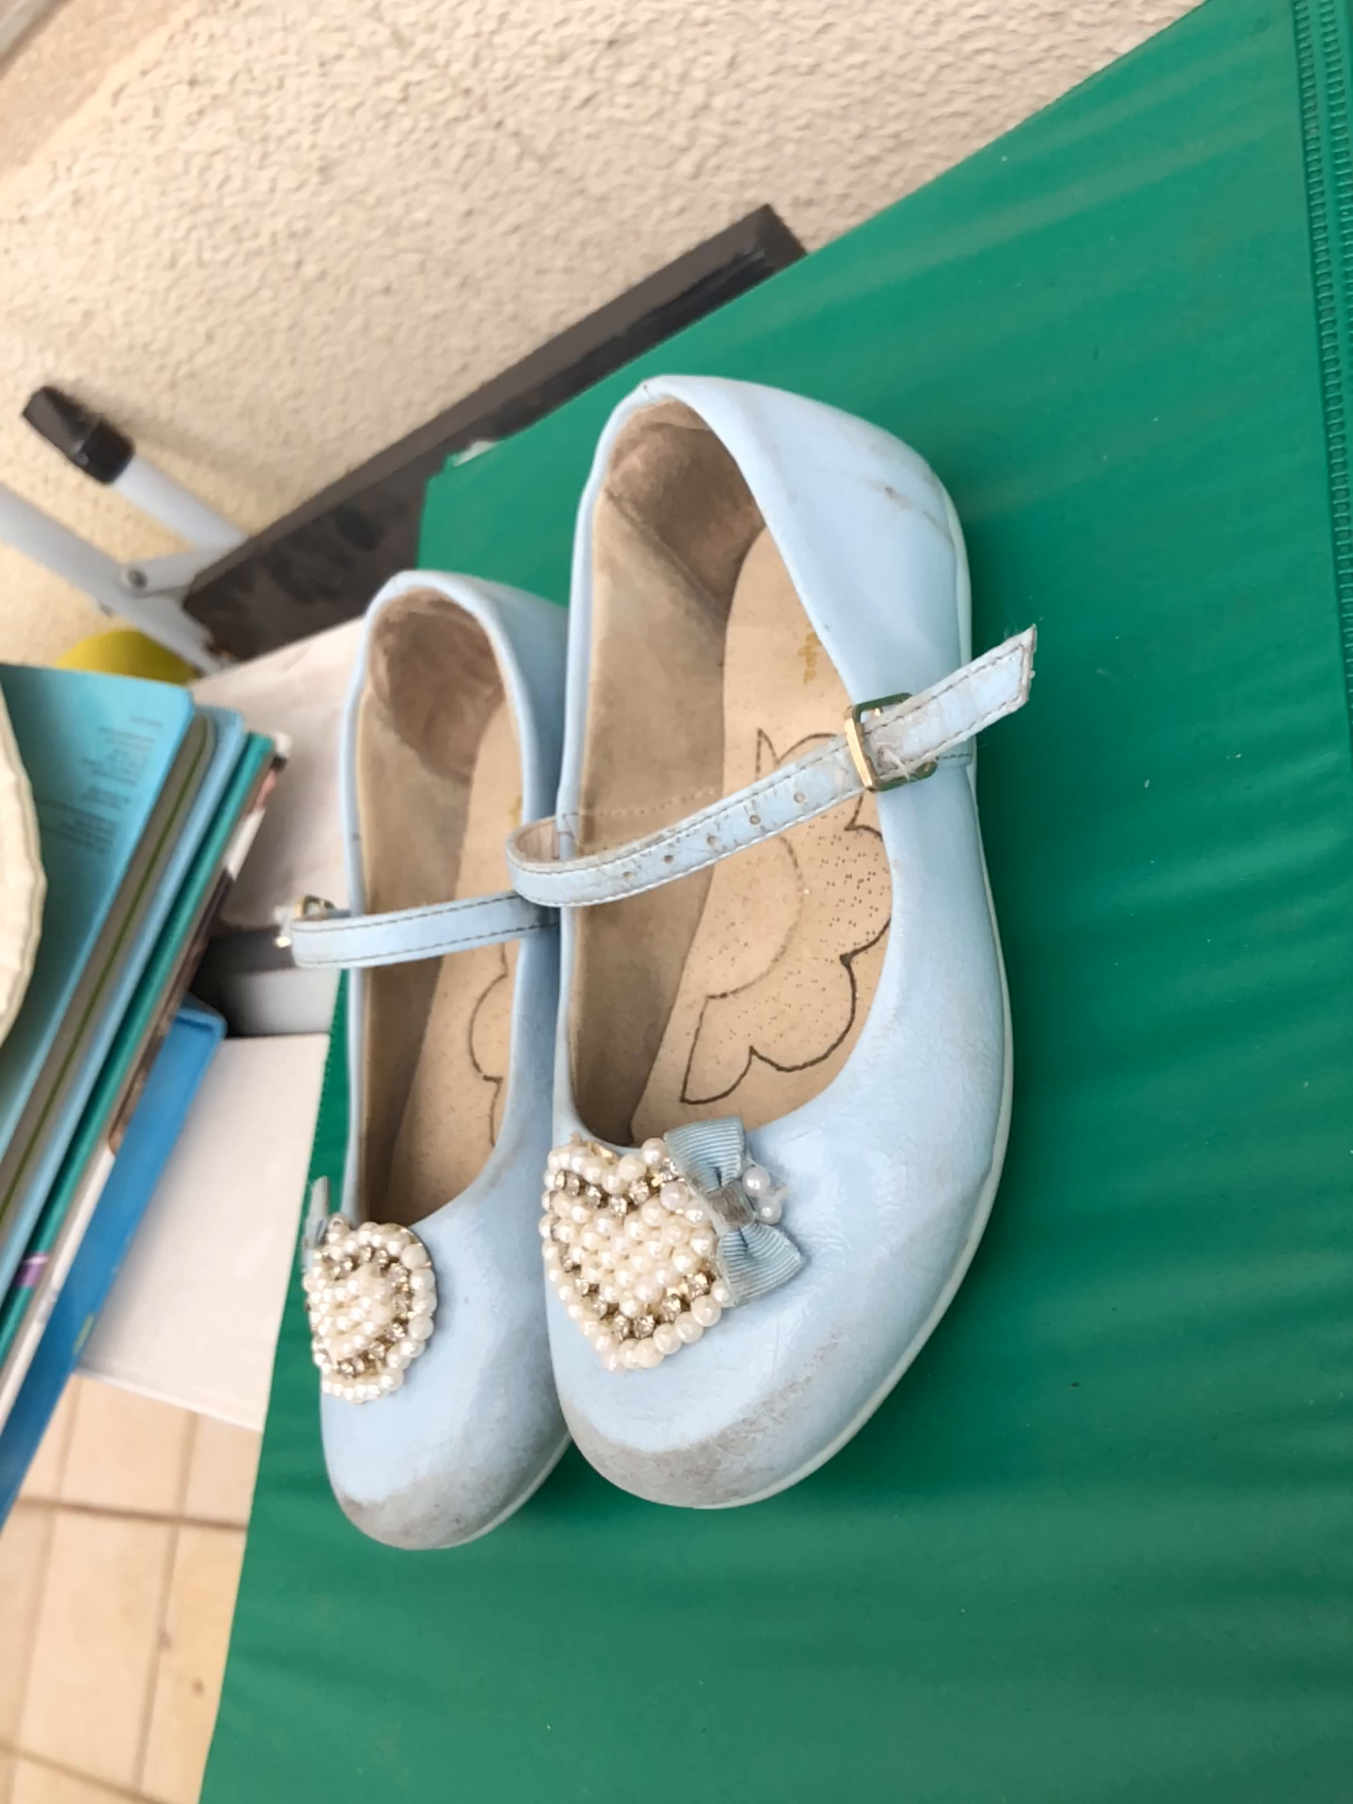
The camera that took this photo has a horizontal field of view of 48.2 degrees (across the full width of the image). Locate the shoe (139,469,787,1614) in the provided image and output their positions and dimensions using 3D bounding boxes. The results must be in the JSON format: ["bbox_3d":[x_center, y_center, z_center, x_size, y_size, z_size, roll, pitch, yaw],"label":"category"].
[{"bbox_3d":[-0.033,0.024,0.263,0.087,0.050,0.170,-14,64,40],"label":"shoe"}]

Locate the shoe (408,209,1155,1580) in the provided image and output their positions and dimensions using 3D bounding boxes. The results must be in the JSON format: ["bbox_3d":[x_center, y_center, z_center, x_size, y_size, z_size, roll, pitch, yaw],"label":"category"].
[{"bbox_3d":[0.016,0.000,0.219,0.080,0.050,0.170,-14,64,40],"label":"shoe"}]
